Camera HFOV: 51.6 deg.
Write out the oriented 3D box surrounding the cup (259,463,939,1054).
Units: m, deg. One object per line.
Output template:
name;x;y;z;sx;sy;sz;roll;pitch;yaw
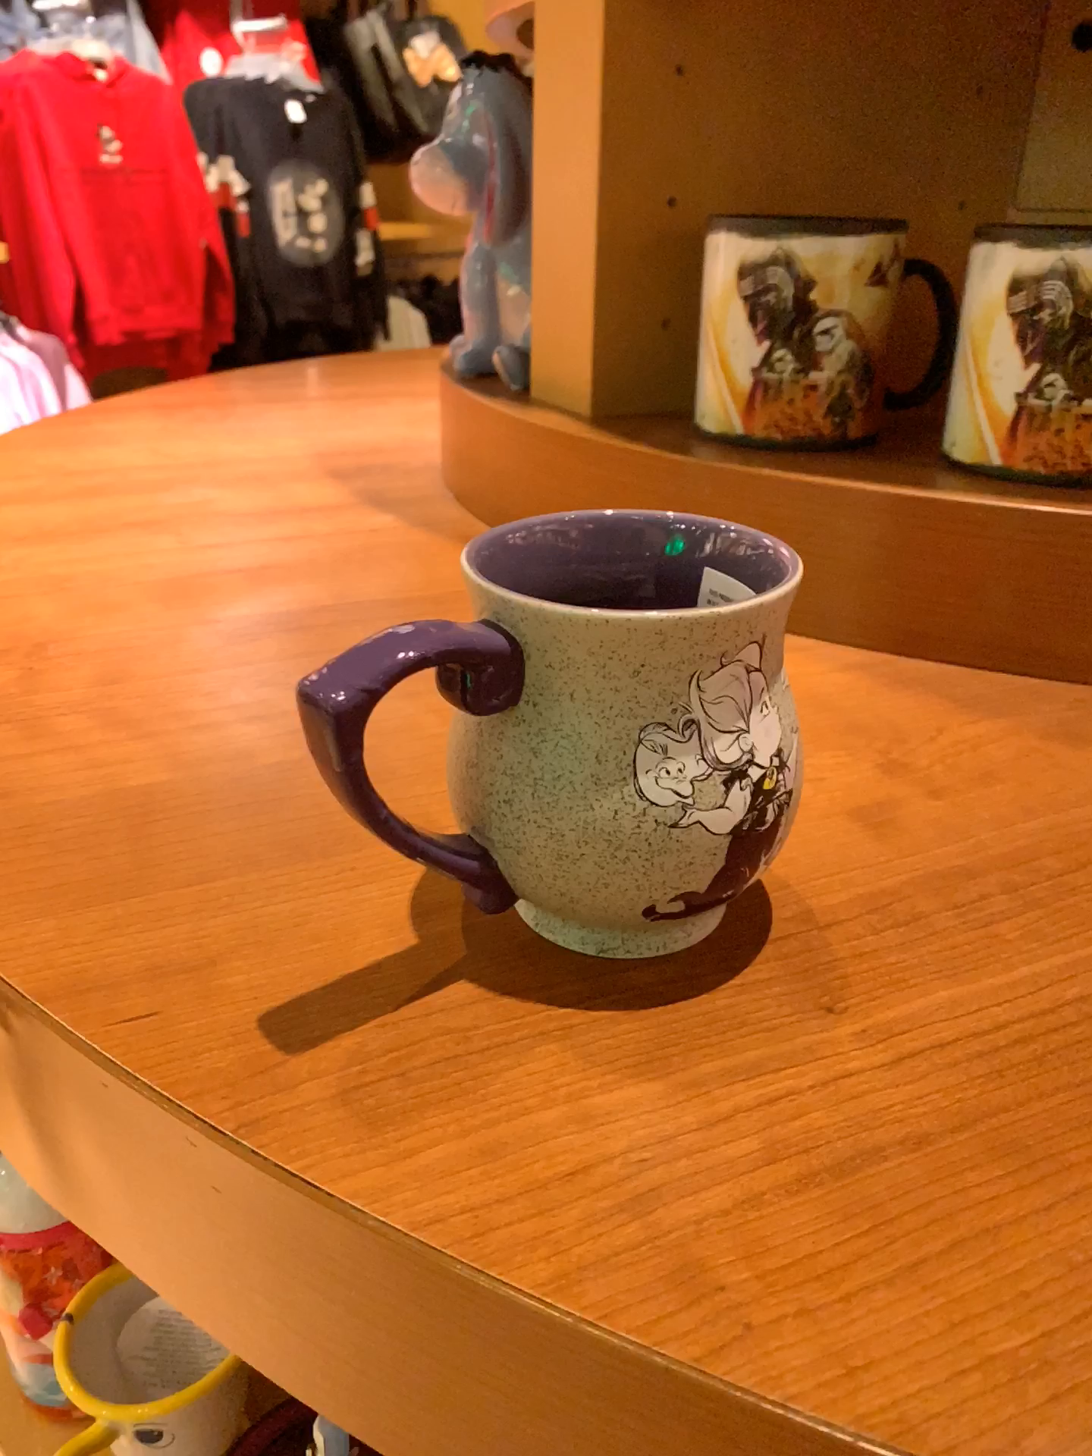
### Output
cup;0.010;-0.006;0.320;0.140;0.099;0.115;-15;30;-29
